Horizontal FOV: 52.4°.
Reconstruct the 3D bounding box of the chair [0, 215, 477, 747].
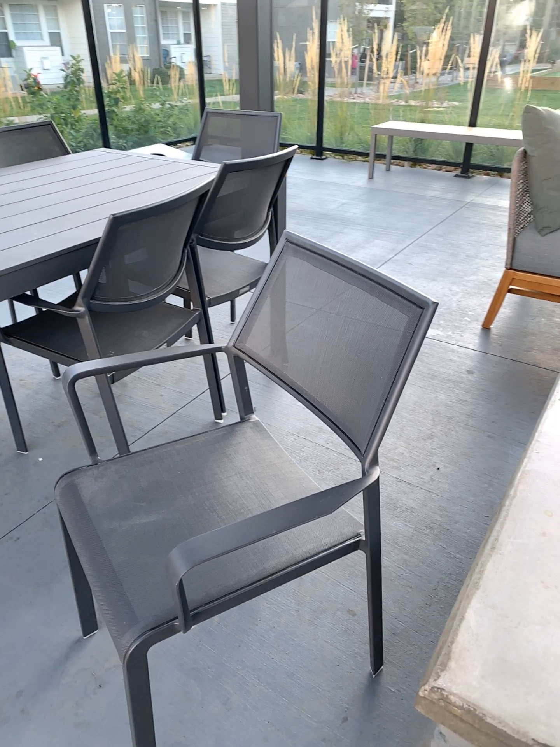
[{"bbox_3d":[-0.120,0.218,1.037,0.610,0.806,0.512,-17,34,-27],"label":"chair"}]
